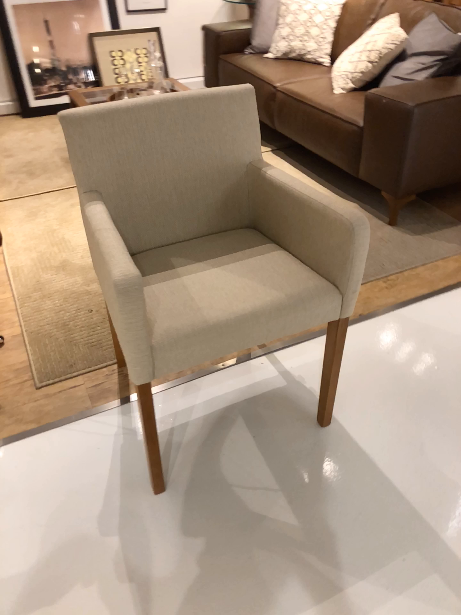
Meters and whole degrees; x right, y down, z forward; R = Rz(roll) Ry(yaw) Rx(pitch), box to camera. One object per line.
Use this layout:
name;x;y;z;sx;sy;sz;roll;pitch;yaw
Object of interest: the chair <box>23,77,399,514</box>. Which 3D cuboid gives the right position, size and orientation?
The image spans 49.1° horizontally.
chair;-0.084;-0.069;1.306;0.601;0.794;0.624;-16;40;-19
